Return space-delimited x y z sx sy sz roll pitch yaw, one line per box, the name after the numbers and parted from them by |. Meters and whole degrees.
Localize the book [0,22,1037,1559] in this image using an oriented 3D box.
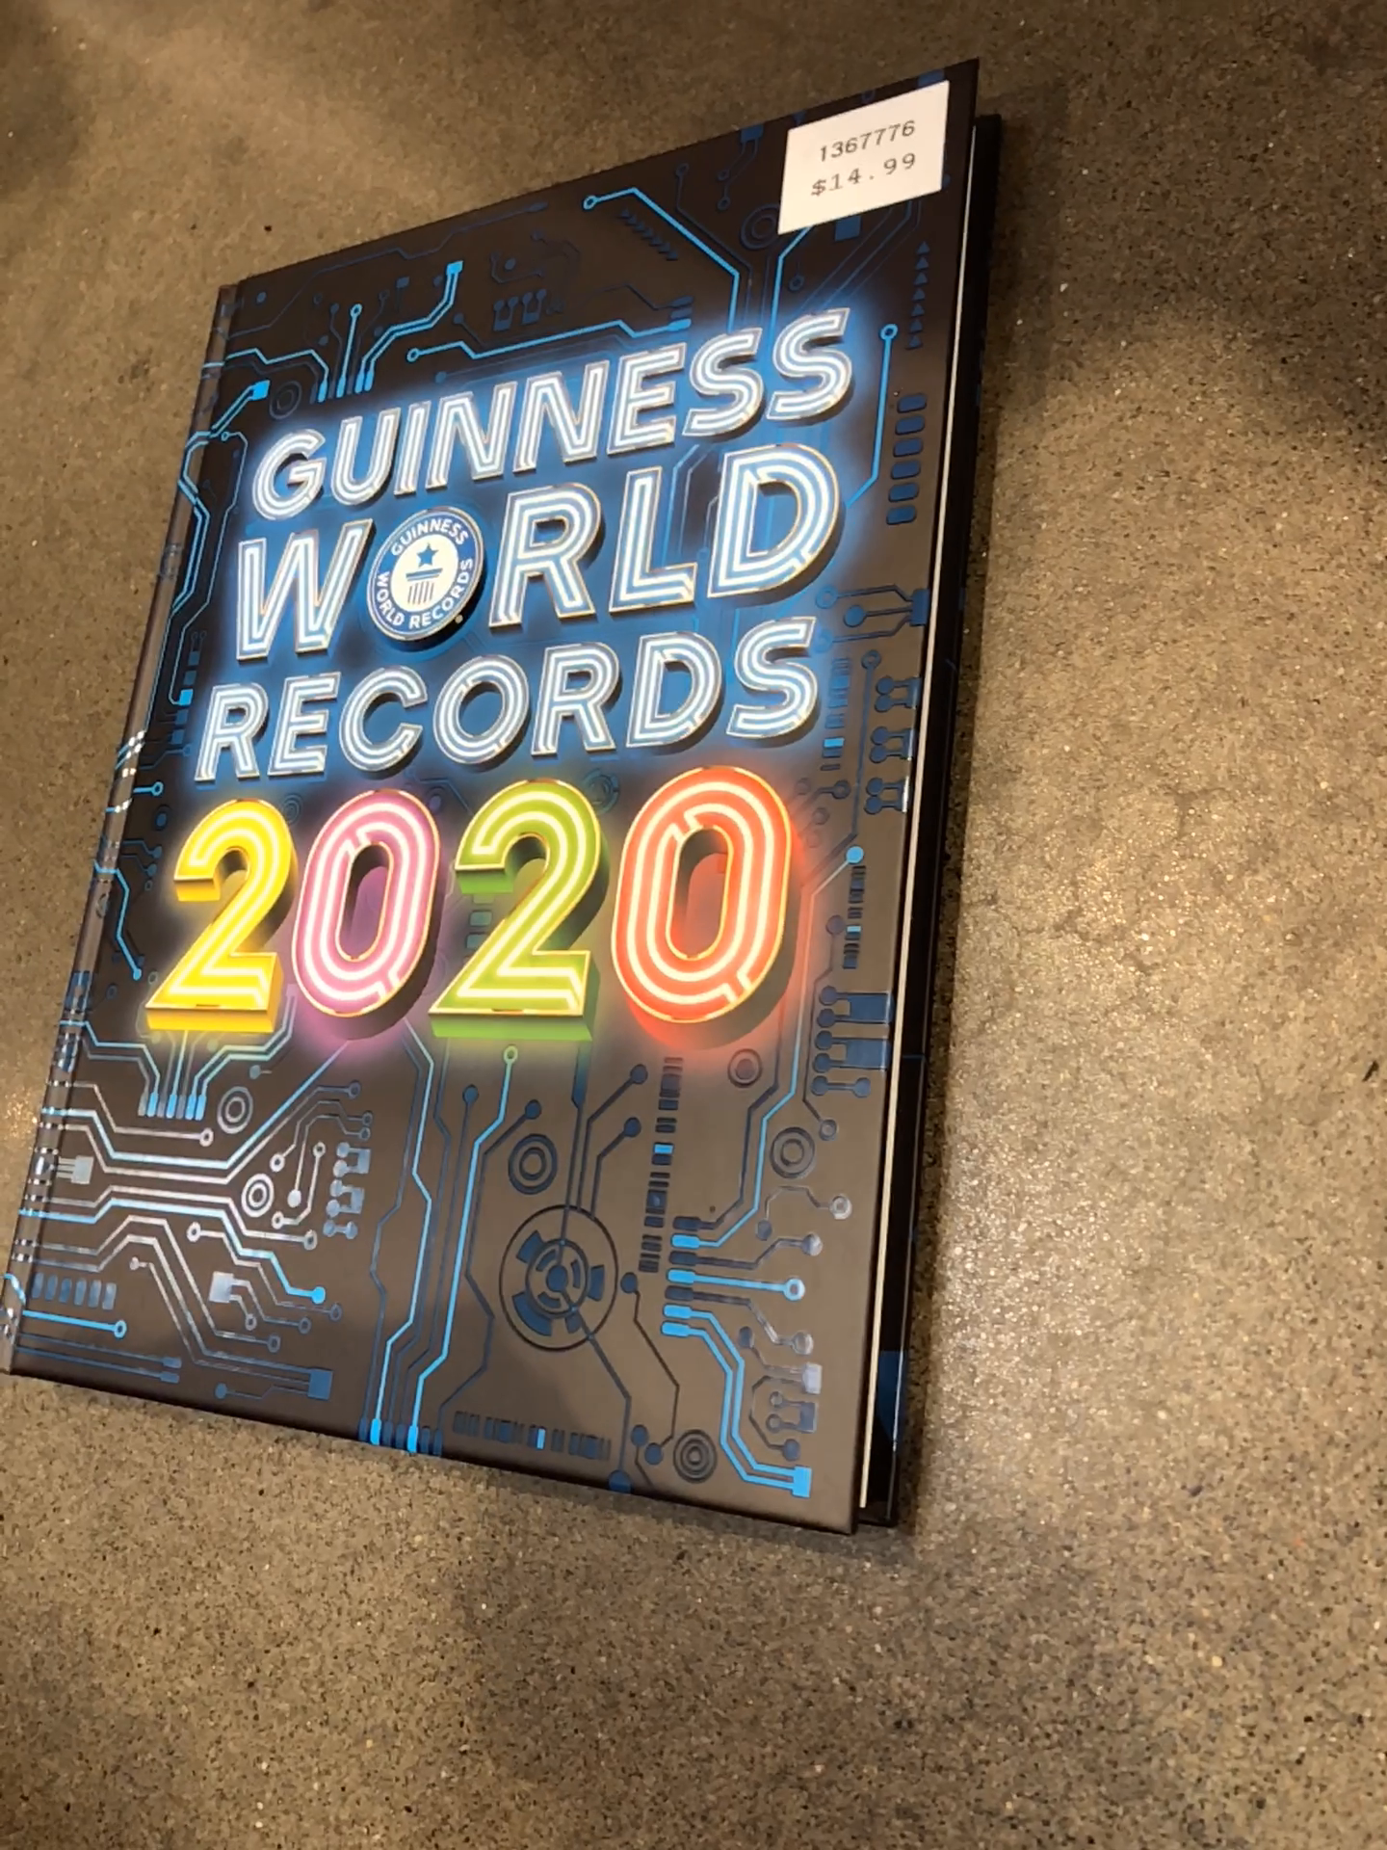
-0.051 -0.039 0.366 0.241 0.030 0.312 -1 74 29 | book
